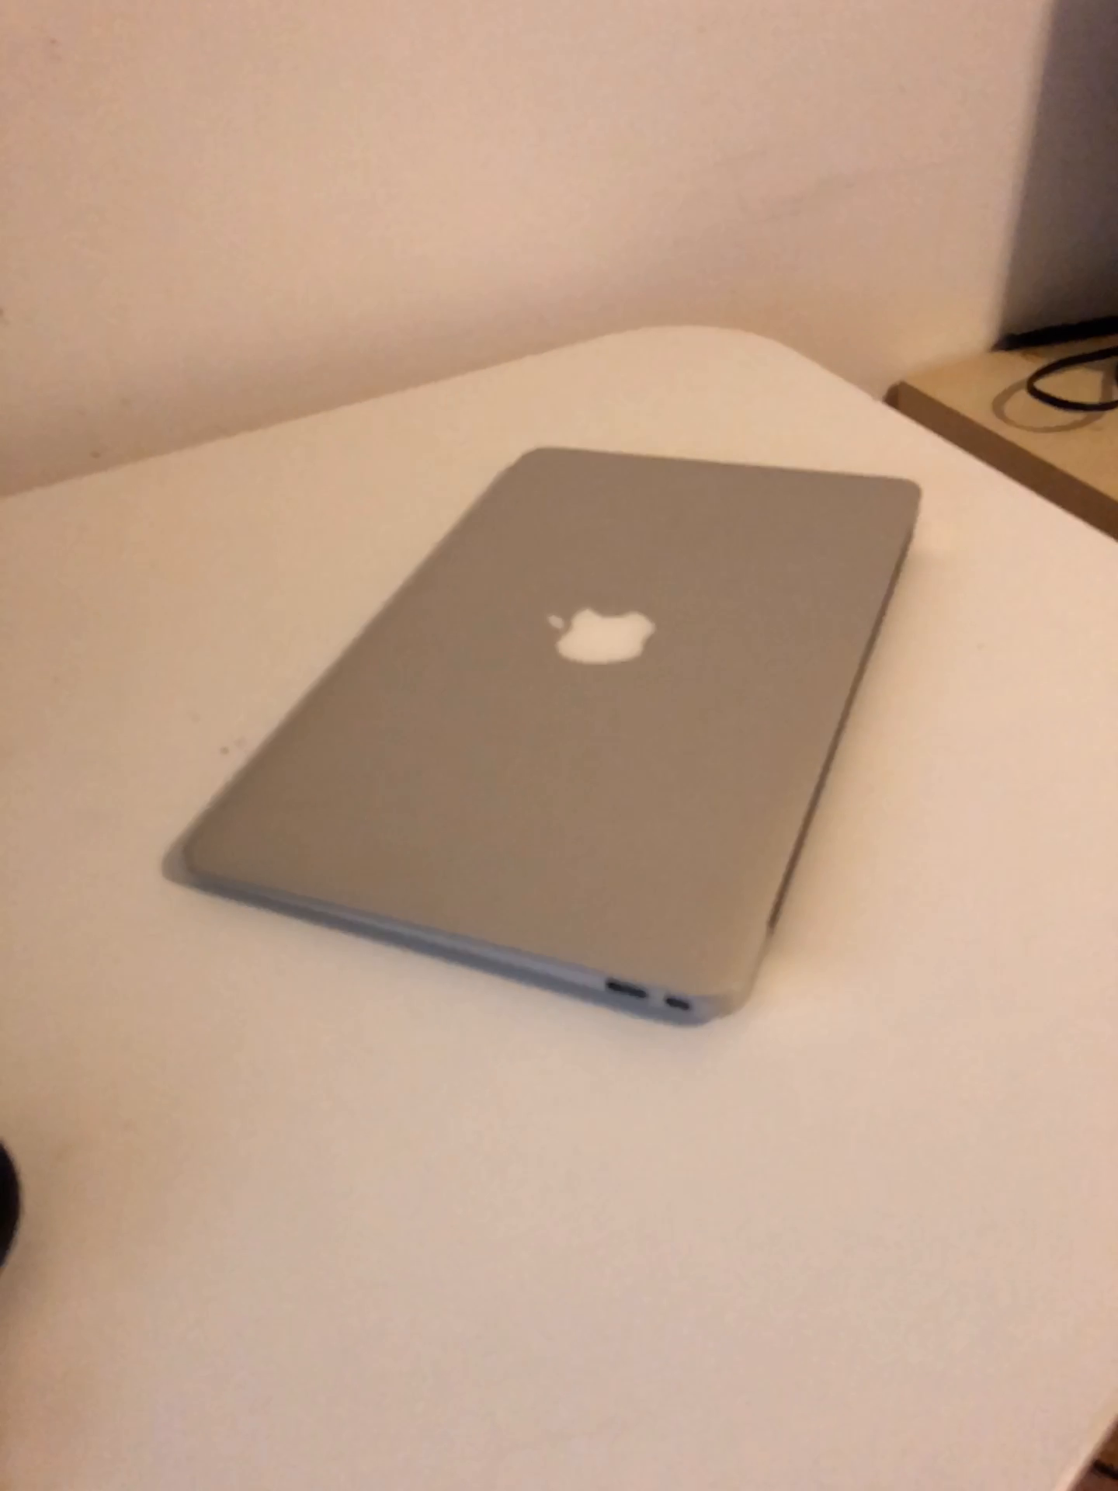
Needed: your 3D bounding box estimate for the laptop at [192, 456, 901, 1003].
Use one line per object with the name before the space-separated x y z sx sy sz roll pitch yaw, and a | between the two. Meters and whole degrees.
laptop | 0.017 -0.036 0.461 0.178 0.004 0.292 10 42 20
